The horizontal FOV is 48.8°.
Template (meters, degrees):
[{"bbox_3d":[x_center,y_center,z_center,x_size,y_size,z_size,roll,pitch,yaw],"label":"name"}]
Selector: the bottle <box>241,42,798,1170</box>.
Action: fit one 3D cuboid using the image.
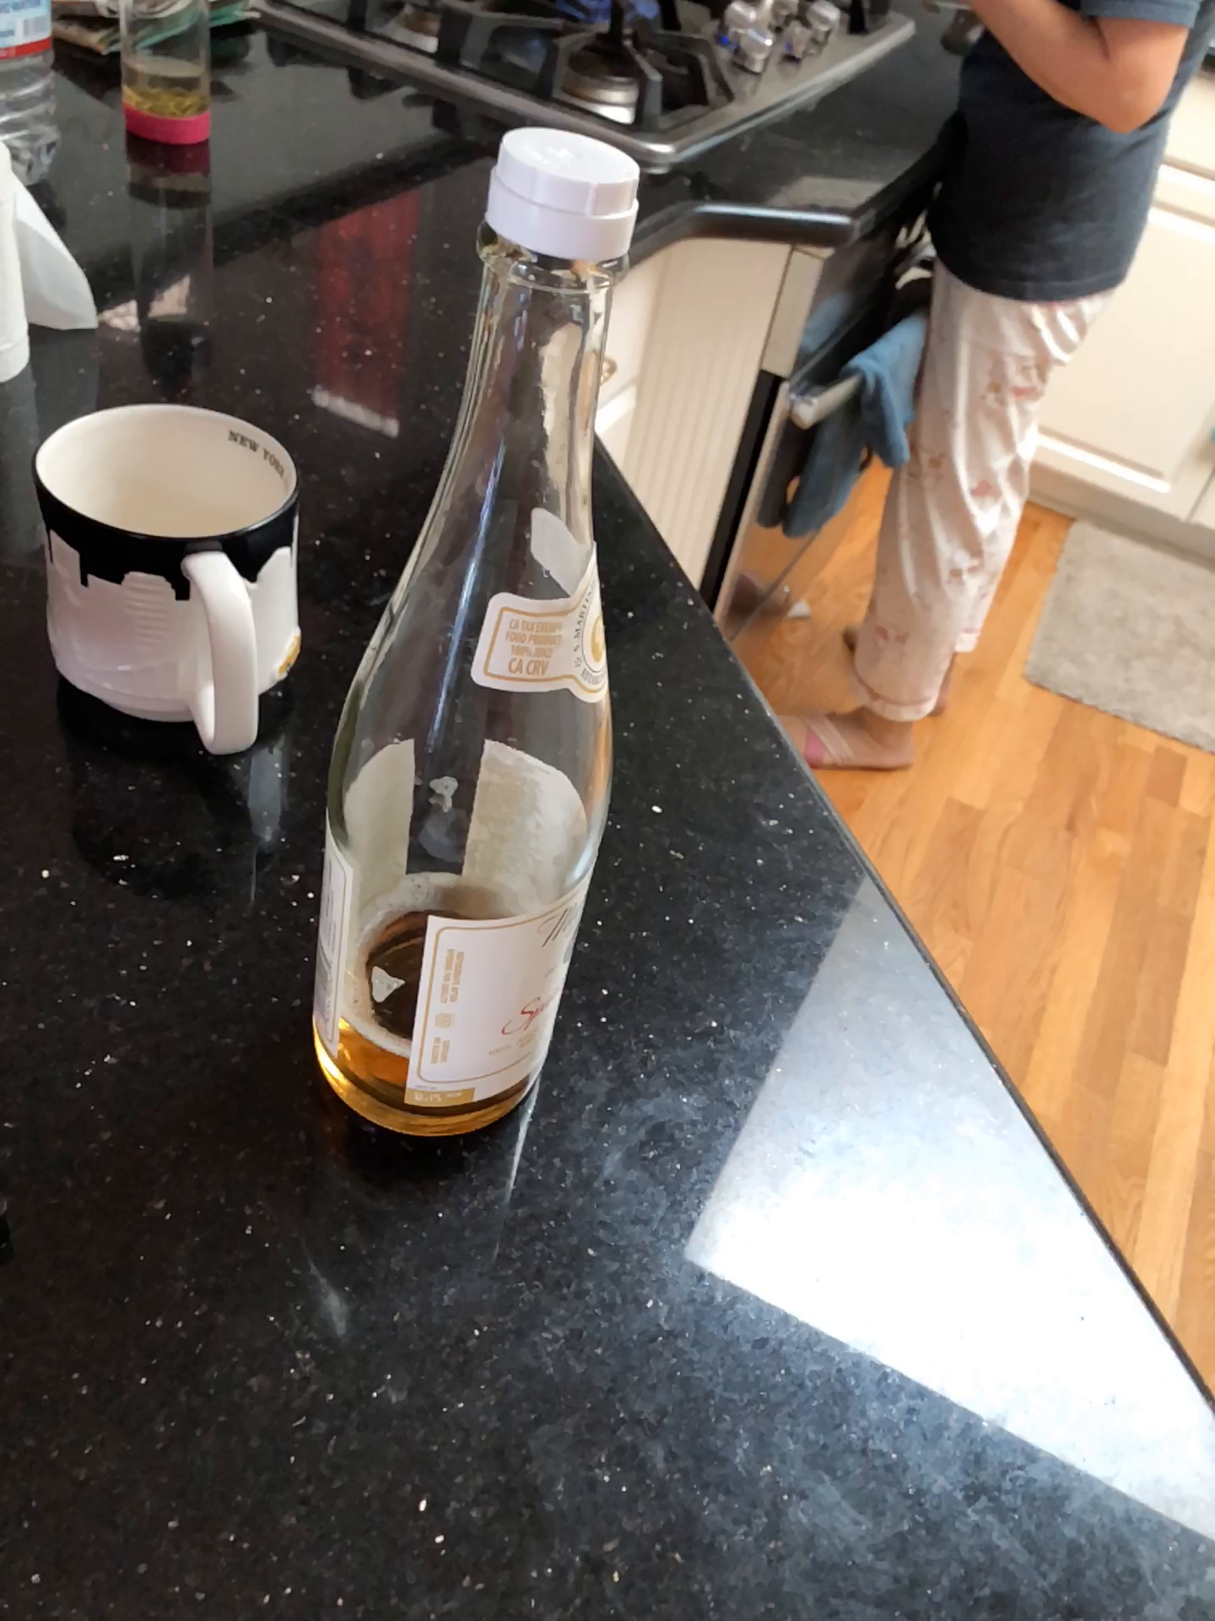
[{"bbox_3d":[-0.037,-0.030,0.369,0.098,0.288,0.094,8,42,-7],"label":"bottle"}]
